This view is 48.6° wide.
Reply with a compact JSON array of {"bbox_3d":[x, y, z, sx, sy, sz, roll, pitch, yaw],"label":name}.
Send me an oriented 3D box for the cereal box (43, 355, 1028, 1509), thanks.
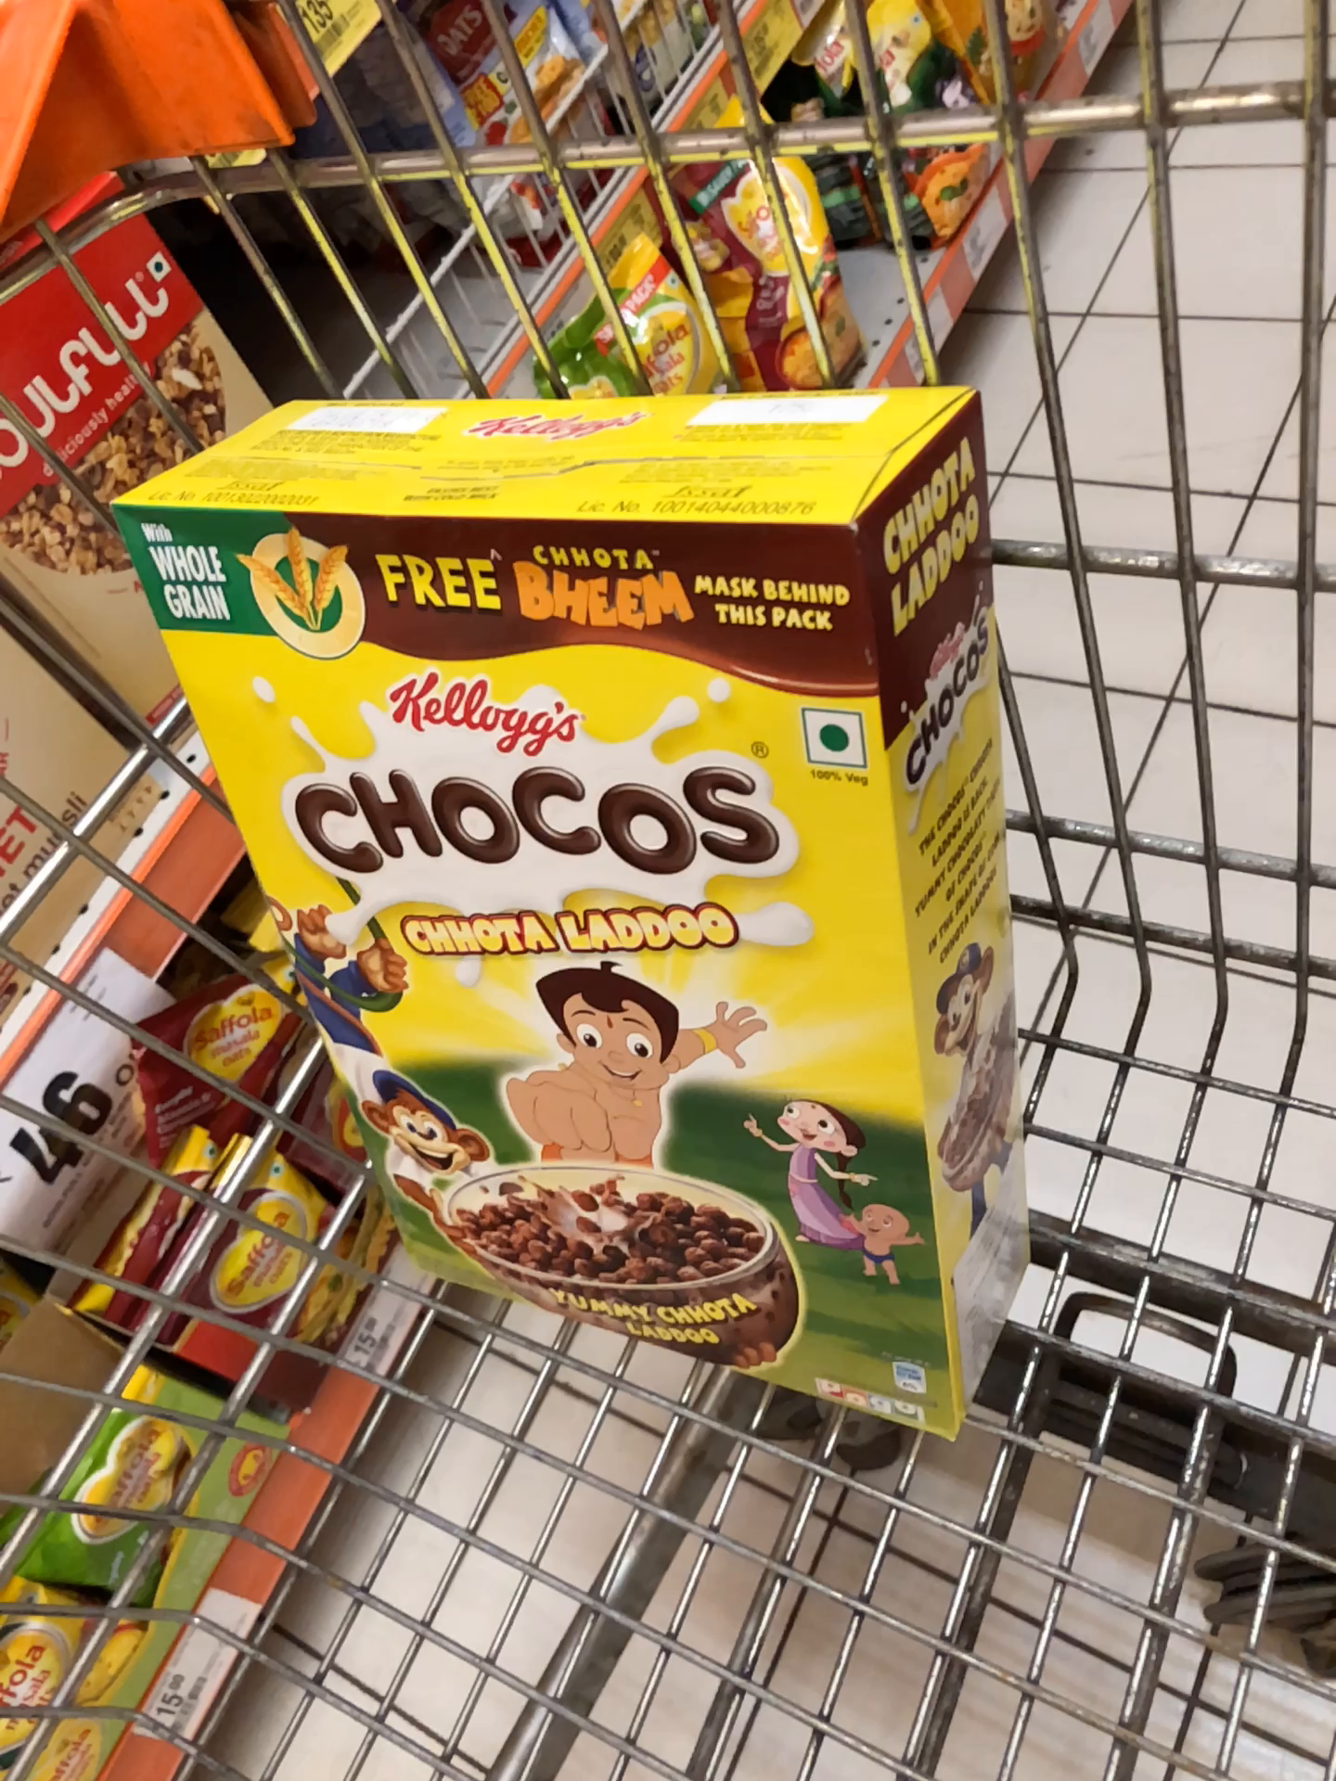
[{"bbox_3d":[-0.016,0.011,0.364,0.180,0.249,0.080,8,36,28],"label":"cereal box"}]
